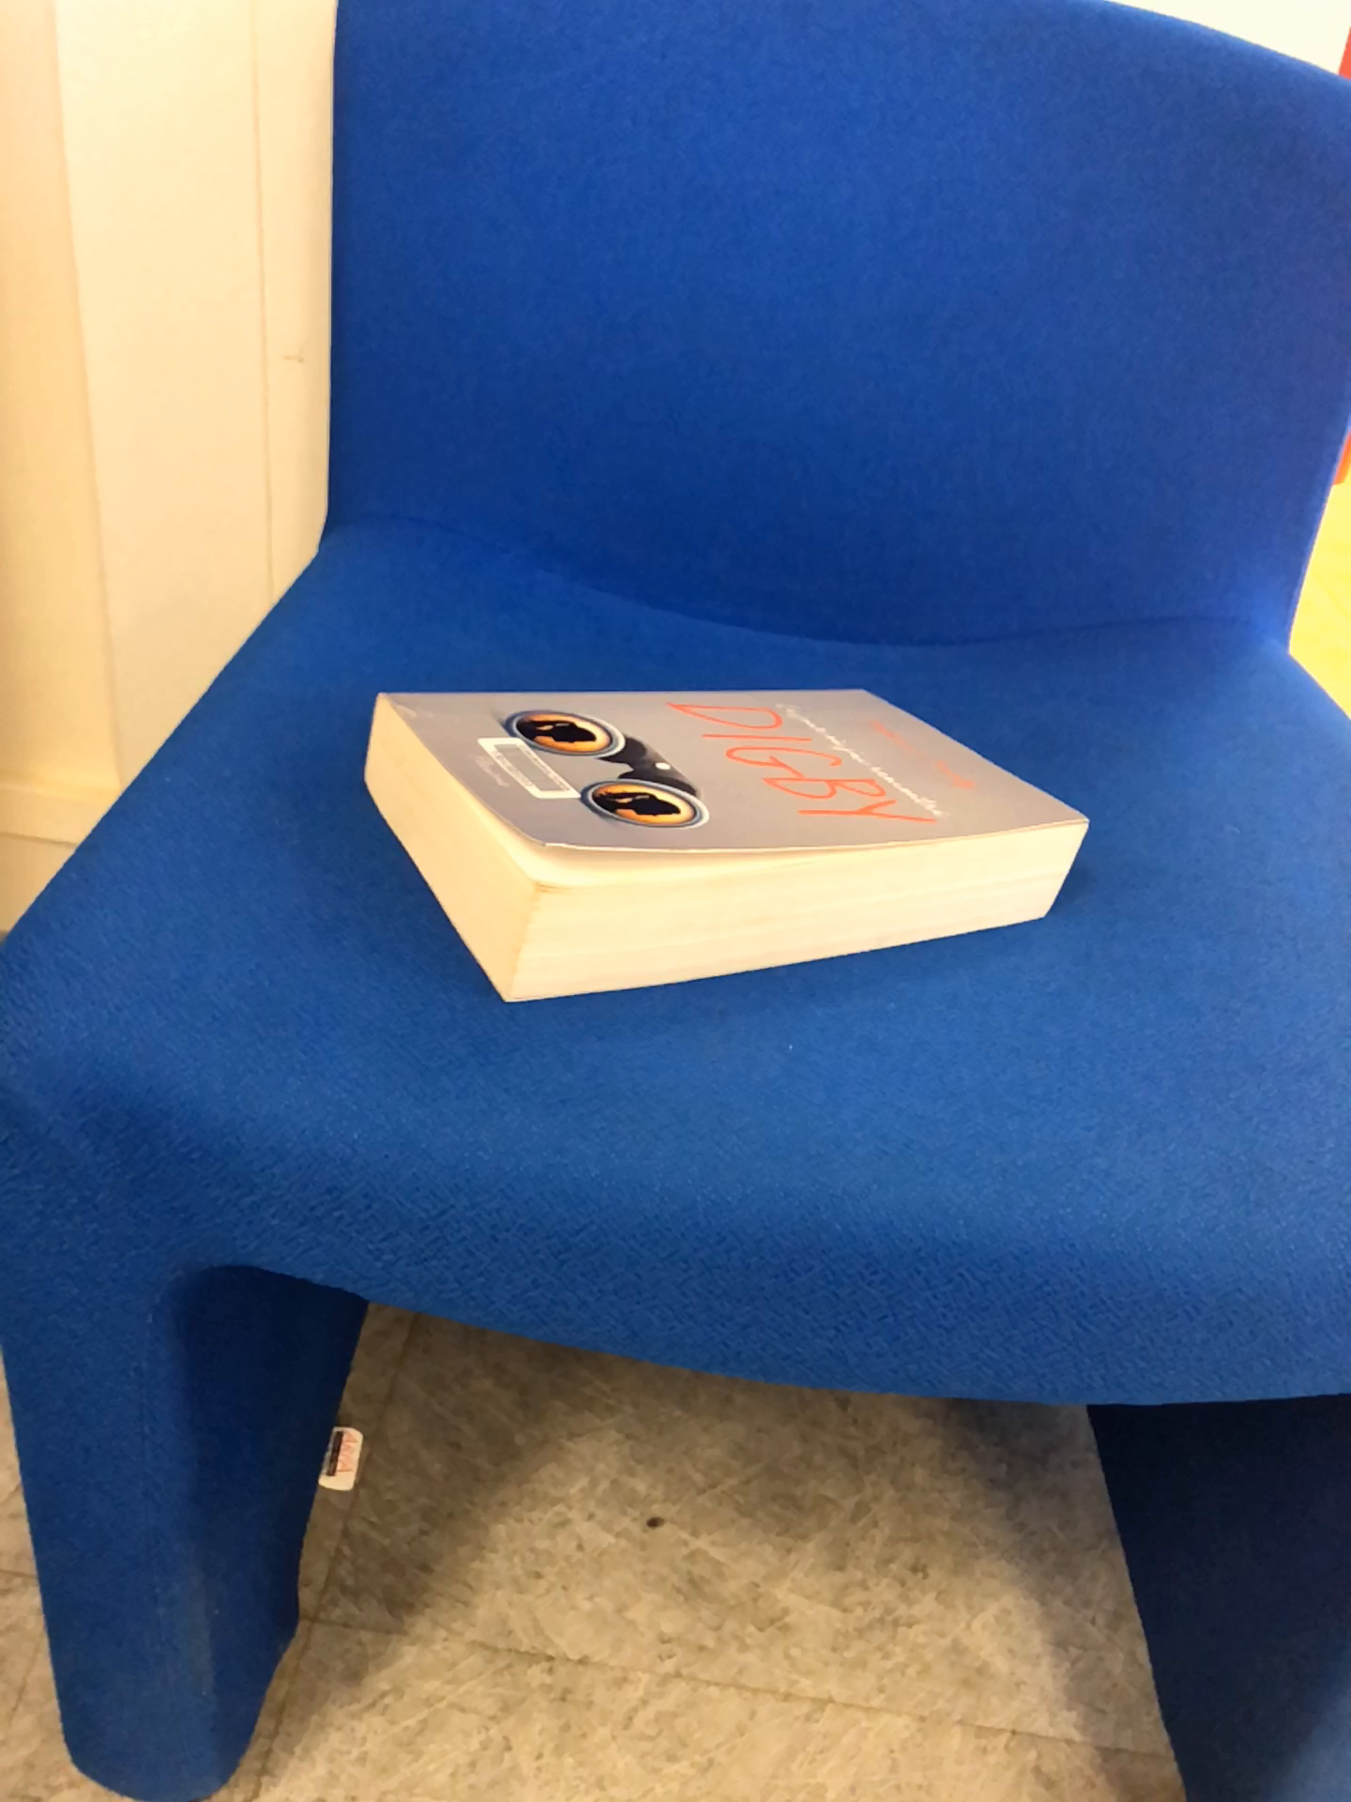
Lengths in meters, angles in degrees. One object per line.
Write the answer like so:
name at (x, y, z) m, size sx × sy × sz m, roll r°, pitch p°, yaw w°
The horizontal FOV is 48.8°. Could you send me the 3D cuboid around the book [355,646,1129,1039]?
book at (0.018, -0.031, 0.508) m, size 0.212 × 0.056 × 0.151 m, roll -4°, pitch 32°, yaw -29°
